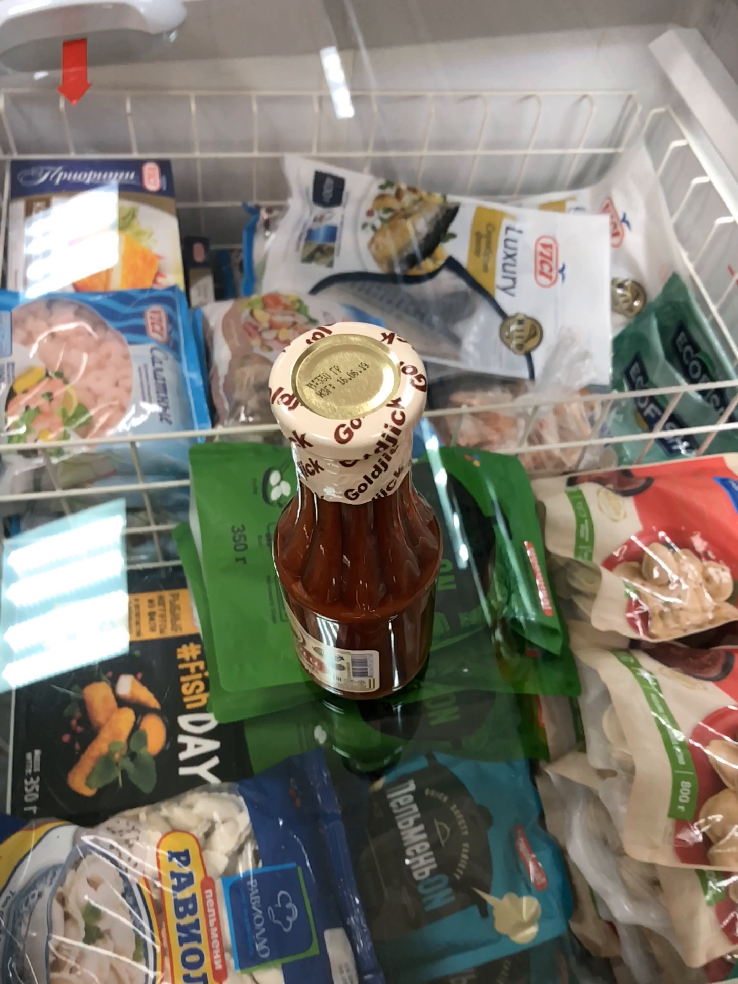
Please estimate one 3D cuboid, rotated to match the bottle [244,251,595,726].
[{"bbox_3d":[0.008,0.013,0.302,0.080,0.179,0.080,1,58,-1],"label":"bottle"}]
